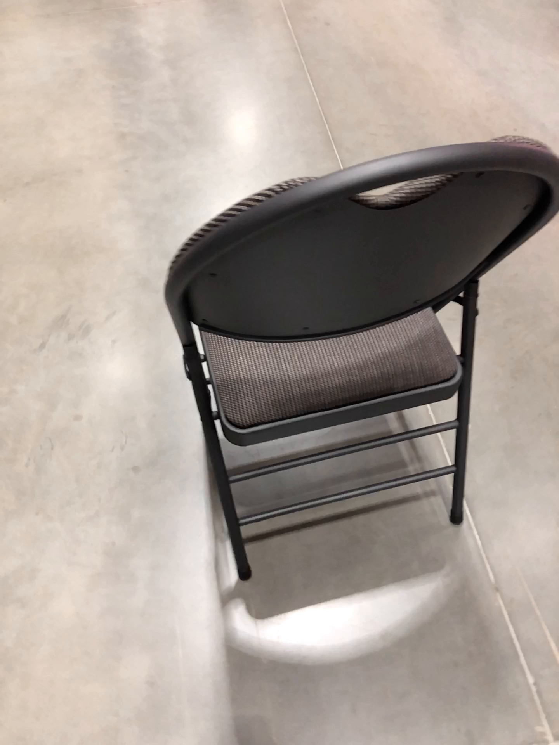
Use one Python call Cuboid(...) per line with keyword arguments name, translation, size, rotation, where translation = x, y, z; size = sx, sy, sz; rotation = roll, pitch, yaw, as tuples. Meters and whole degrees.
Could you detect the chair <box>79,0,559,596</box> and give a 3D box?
Cuboid(name="chair", translation=(0.076, -0.132, 0.985), size=(0.520, 0.867, 0.562), rotation=(-12, 51, -6))
